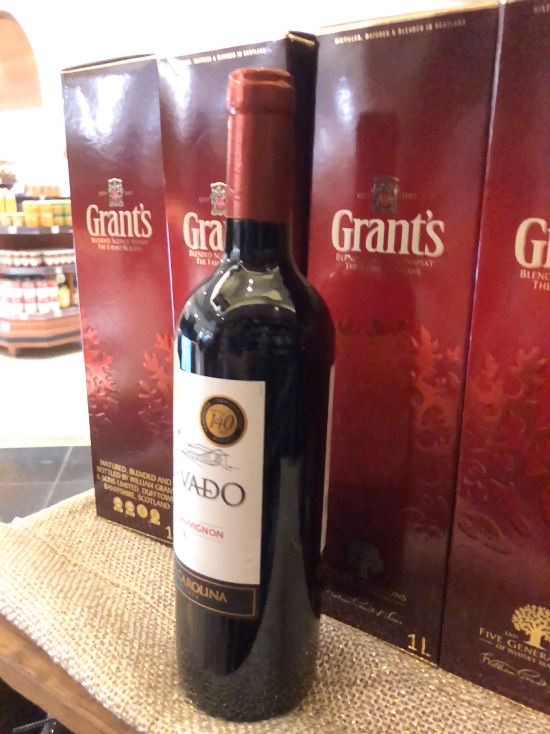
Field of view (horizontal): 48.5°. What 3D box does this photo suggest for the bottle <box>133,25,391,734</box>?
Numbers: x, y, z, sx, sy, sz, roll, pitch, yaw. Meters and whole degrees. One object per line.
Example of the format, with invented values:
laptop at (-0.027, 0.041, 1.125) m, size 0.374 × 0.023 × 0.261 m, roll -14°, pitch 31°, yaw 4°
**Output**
bottle at (-0.011, 0.016, 0.283) m, size 0.070 × 0.288 × 0.080 m, roll -10°, pitch 19°, yaw -37°
